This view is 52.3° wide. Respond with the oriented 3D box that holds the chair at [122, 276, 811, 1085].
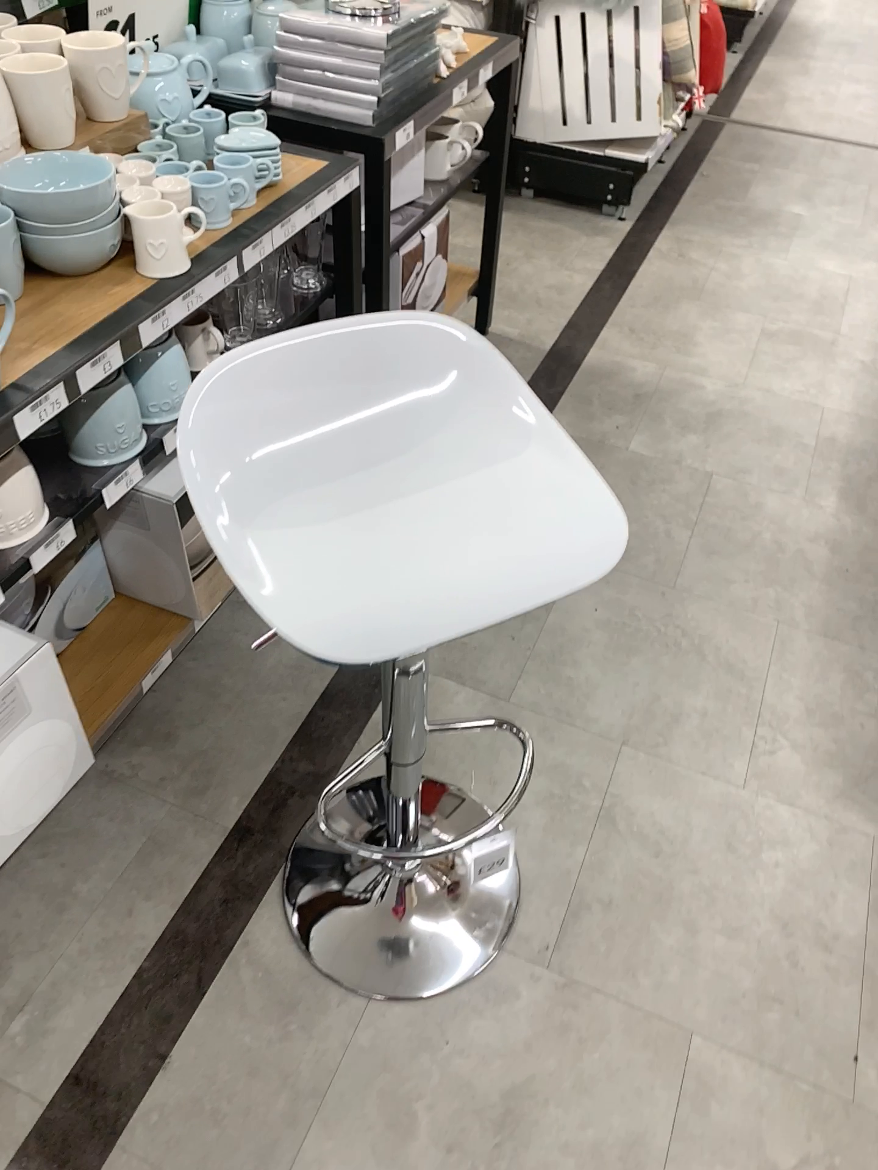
[{"bbox_3d":[-0.018,0.153,1.072,0.455,0.825,0.423,-18,50,-21],"label":"chair"}]
